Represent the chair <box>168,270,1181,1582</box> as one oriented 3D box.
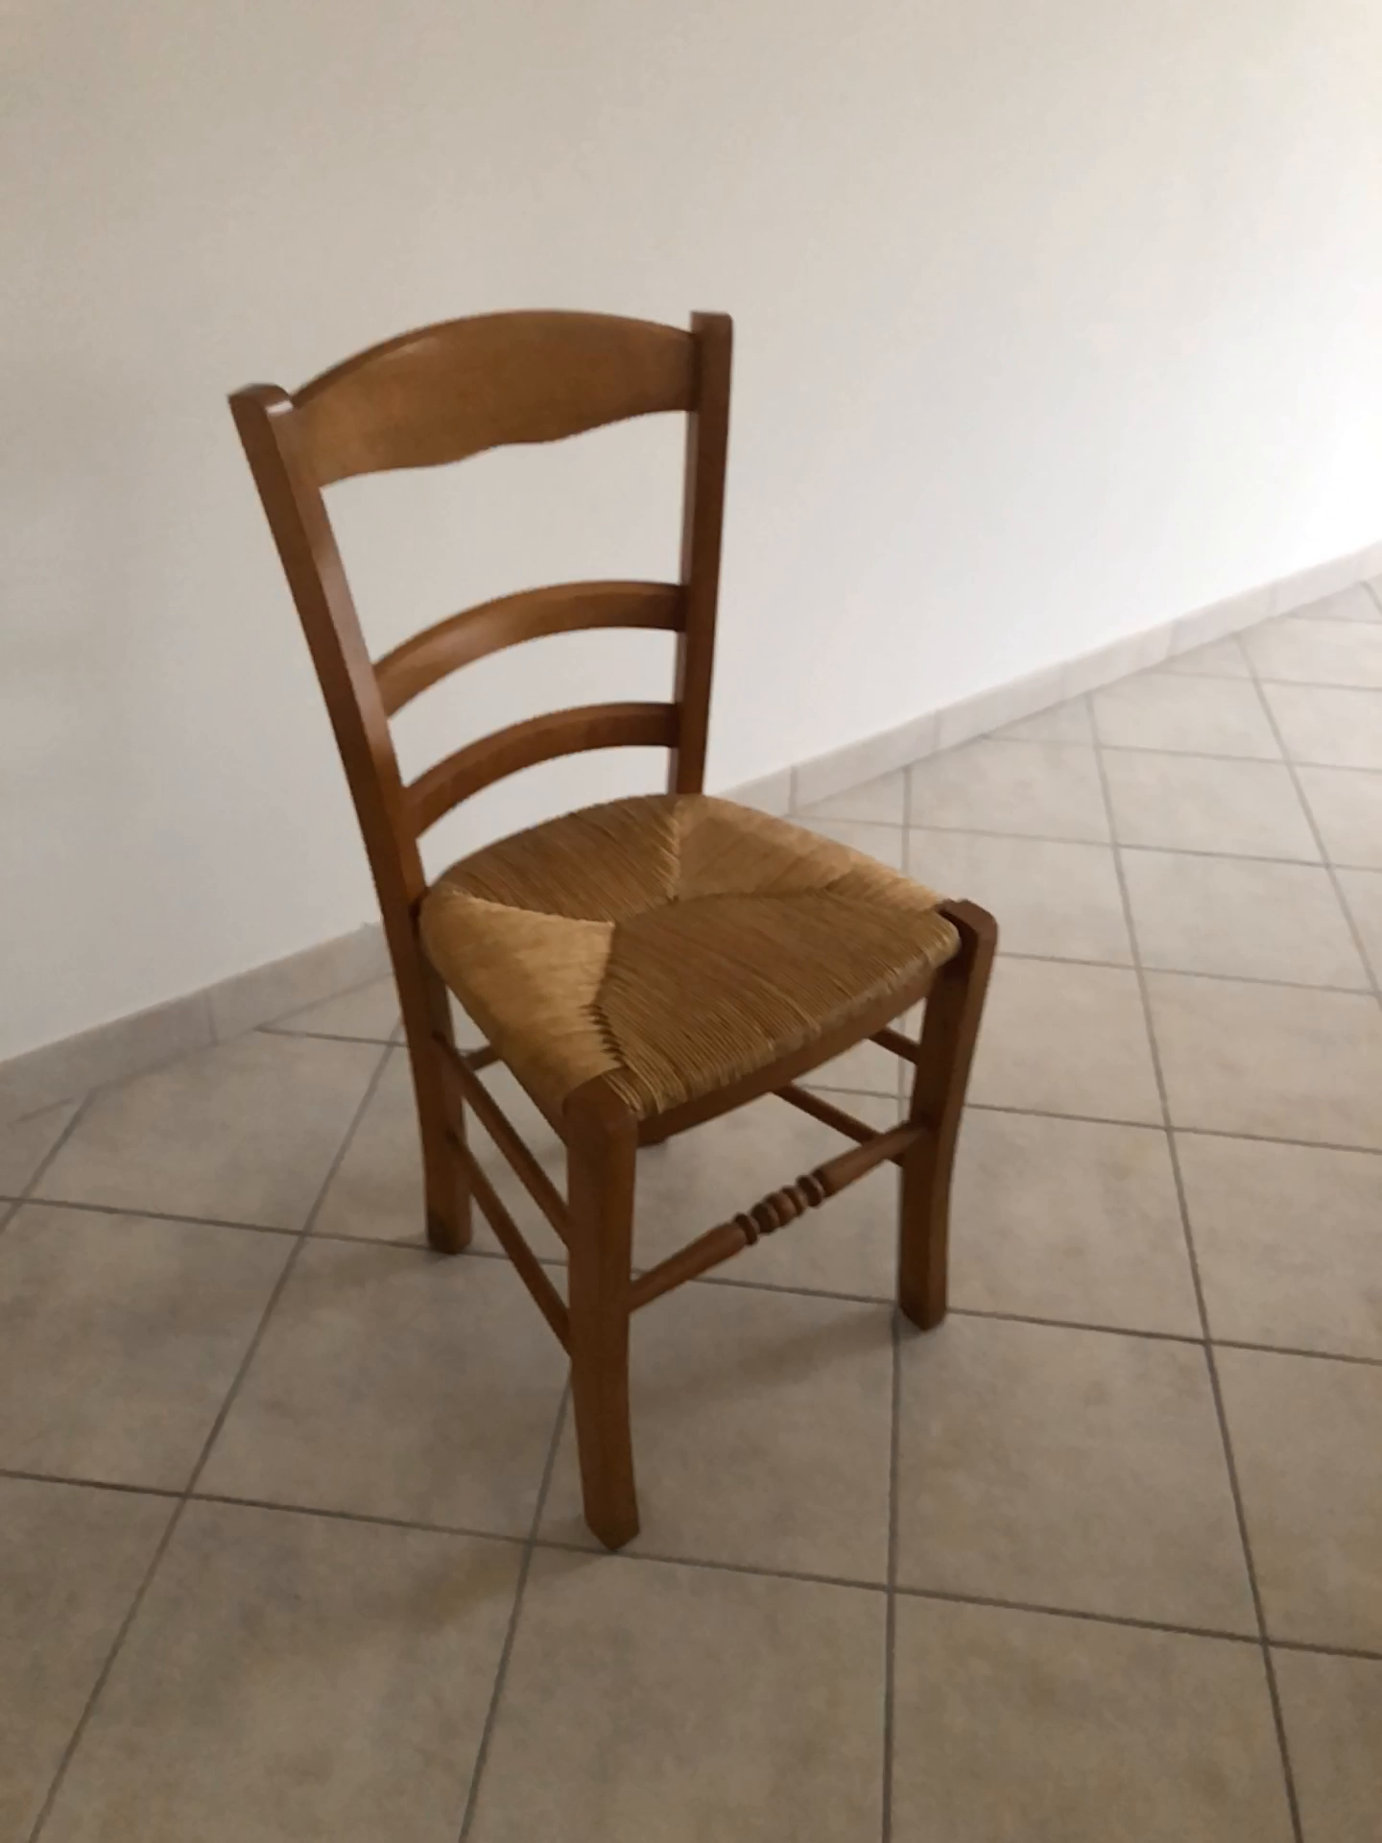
[{"bbox_3d":[-0.036,-0.013,1.227,0.452,0.825,0.501,-24,43,-32],"label":"chair"}]
